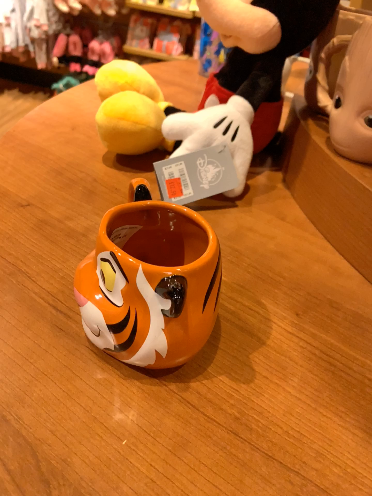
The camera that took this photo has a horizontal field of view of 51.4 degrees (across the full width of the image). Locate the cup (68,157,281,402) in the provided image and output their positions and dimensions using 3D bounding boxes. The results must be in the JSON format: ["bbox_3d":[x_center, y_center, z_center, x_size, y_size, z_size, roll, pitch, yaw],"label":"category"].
[{"bbox_3d":[-0.025,0.009,0.279,0.106,0.086,0.151,-3,39,-18],"label":"cup"}]
